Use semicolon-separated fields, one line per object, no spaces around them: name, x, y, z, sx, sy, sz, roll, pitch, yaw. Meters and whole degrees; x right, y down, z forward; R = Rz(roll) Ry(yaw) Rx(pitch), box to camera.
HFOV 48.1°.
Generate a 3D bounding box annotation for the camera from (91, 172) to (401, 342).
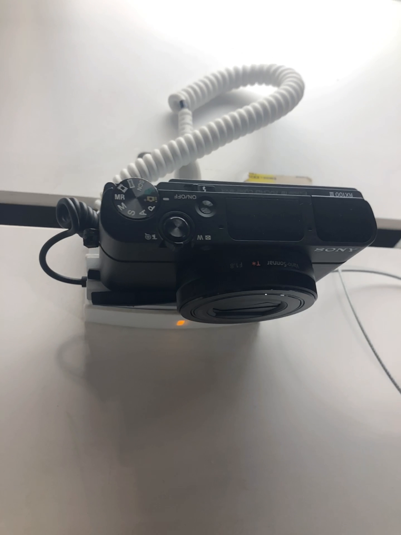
camera;0.014;-0.001;0.164;0.102;0.052;0.041;0;67;-11
